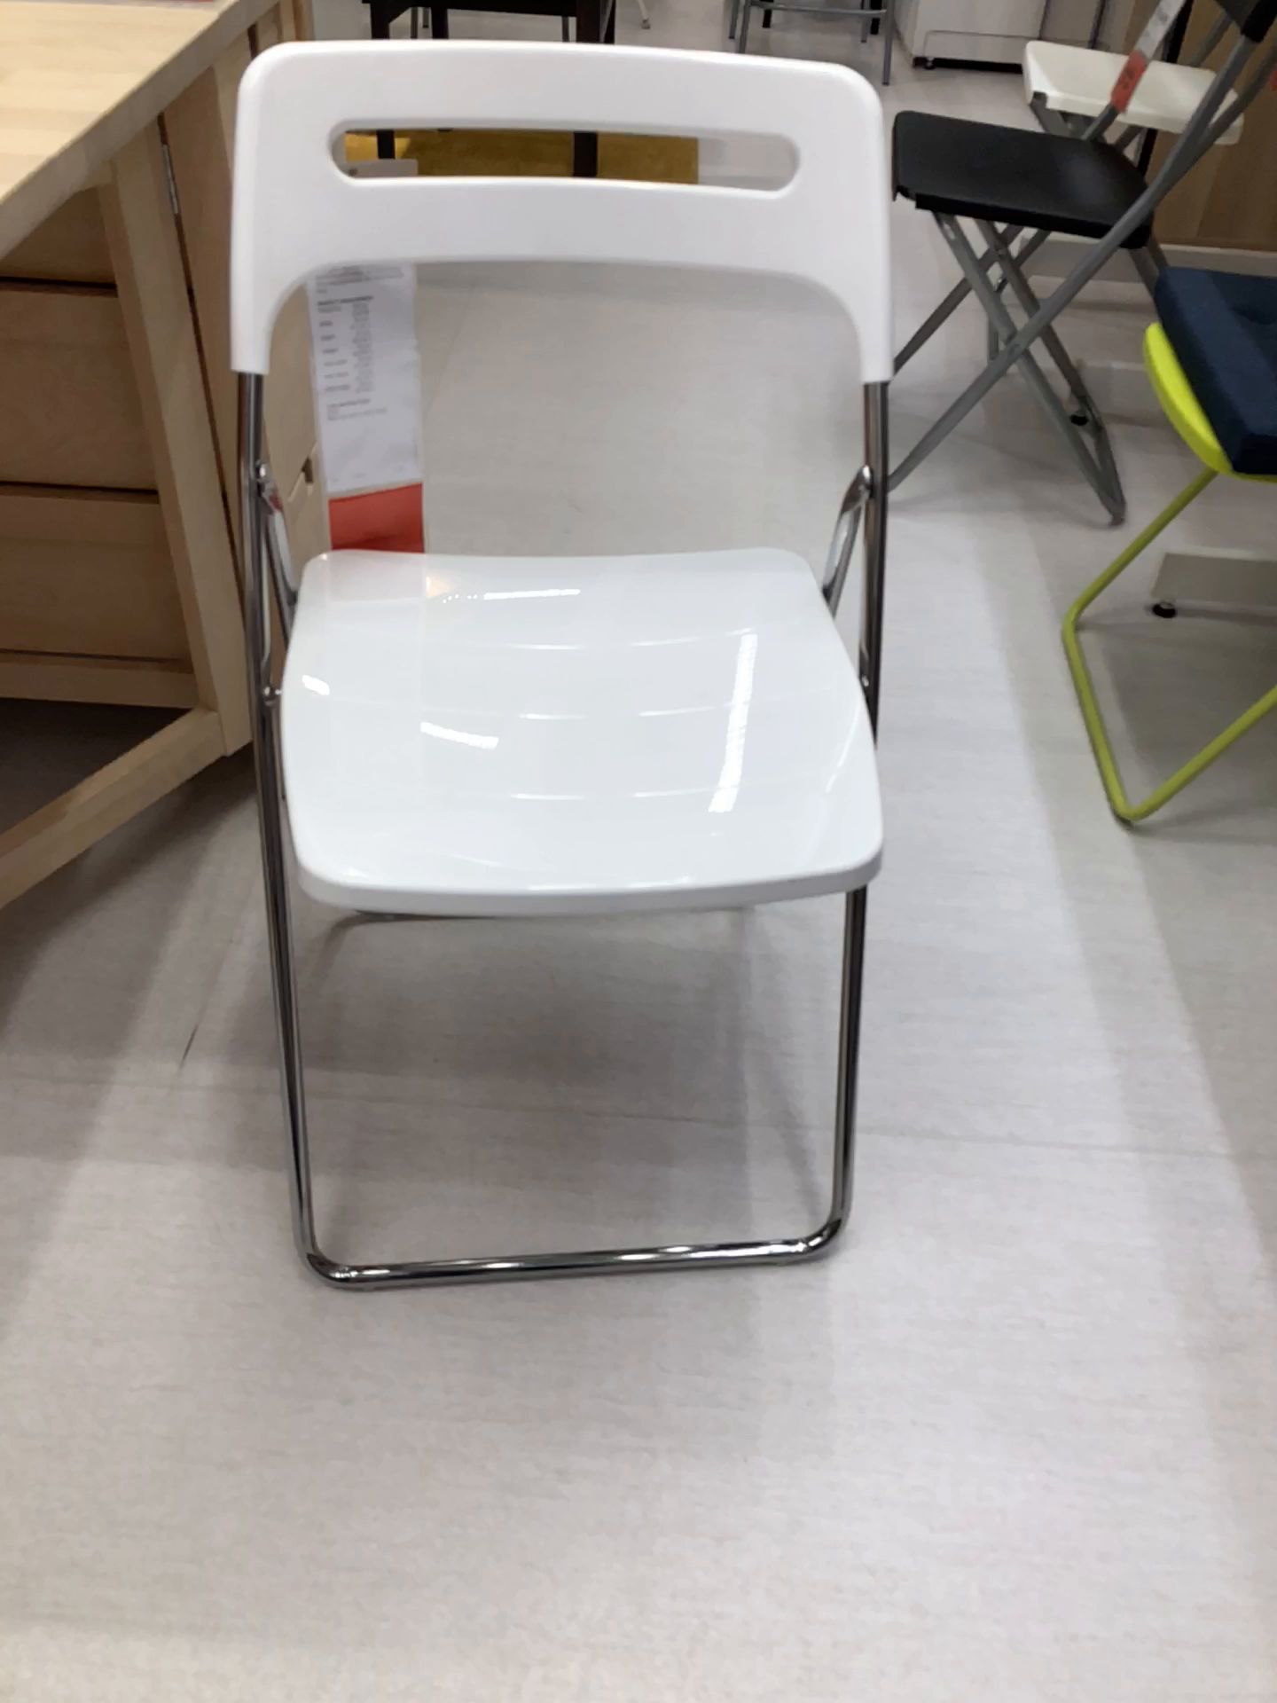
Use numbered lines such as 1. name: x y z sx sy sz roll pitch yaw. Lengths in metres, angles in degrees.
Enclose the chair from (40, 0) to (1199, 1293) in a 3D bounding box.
1. chair: -0.034 -0.103 0.920 0.440 0.715 0.423 -1 42 -6
